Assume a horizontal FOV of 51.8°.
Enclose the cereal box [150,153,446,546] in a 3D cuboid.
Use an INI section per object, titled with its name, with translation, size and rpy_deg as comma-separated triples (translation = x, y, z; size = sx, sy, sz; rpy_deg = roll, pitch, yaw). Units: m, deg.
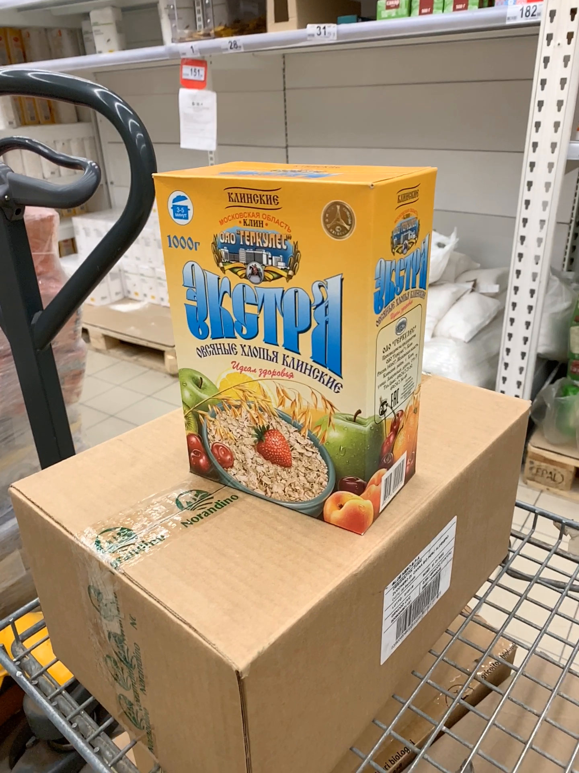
[cereal box]
translation = 0.009, -0.035, 0.431
size = 0.160, 0.239, 0.100
rpy_deg = 13, 30, 29
